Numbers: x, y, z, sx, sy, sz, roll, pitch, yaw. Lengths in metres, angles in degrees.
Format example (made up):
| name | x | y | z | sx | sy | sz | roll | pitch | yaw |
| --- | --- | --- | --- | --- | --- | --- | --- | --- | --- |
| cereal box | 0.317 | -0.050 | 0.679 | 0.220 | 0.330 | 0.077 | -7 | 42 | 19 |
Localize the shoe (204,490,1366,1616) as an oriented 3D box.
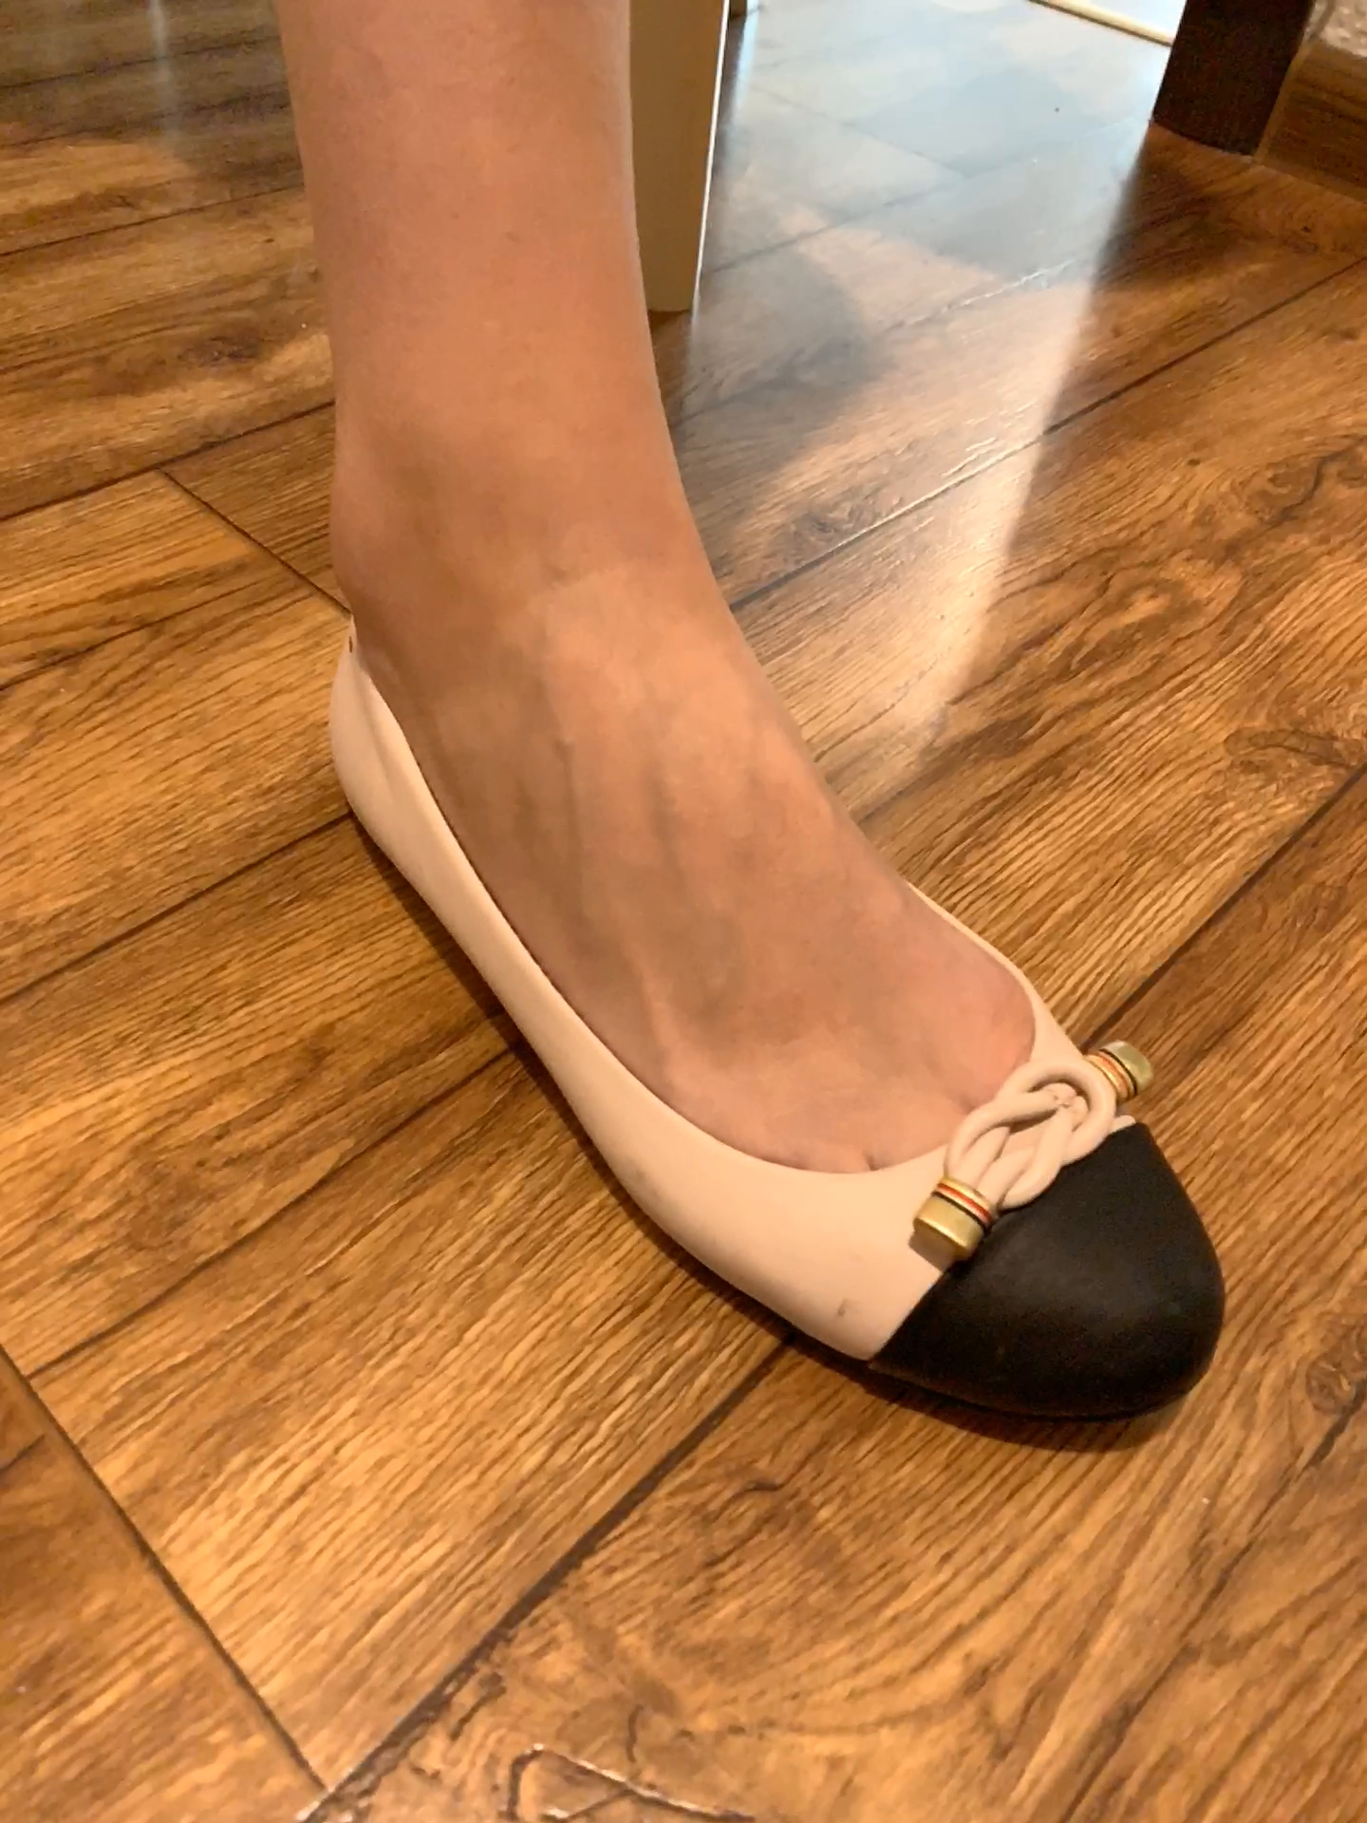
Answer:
| name | x | y | z | sx | sy | sz | roll | pitch | yaw |
| --- | --- | --- | --- | --- | --- | --- | --- | --- | --- |
| shoe | 0.008 | 0.007 | 0.268 | 0.084 | 0.059 | 0.221 | -32 | 57 | -31 |
